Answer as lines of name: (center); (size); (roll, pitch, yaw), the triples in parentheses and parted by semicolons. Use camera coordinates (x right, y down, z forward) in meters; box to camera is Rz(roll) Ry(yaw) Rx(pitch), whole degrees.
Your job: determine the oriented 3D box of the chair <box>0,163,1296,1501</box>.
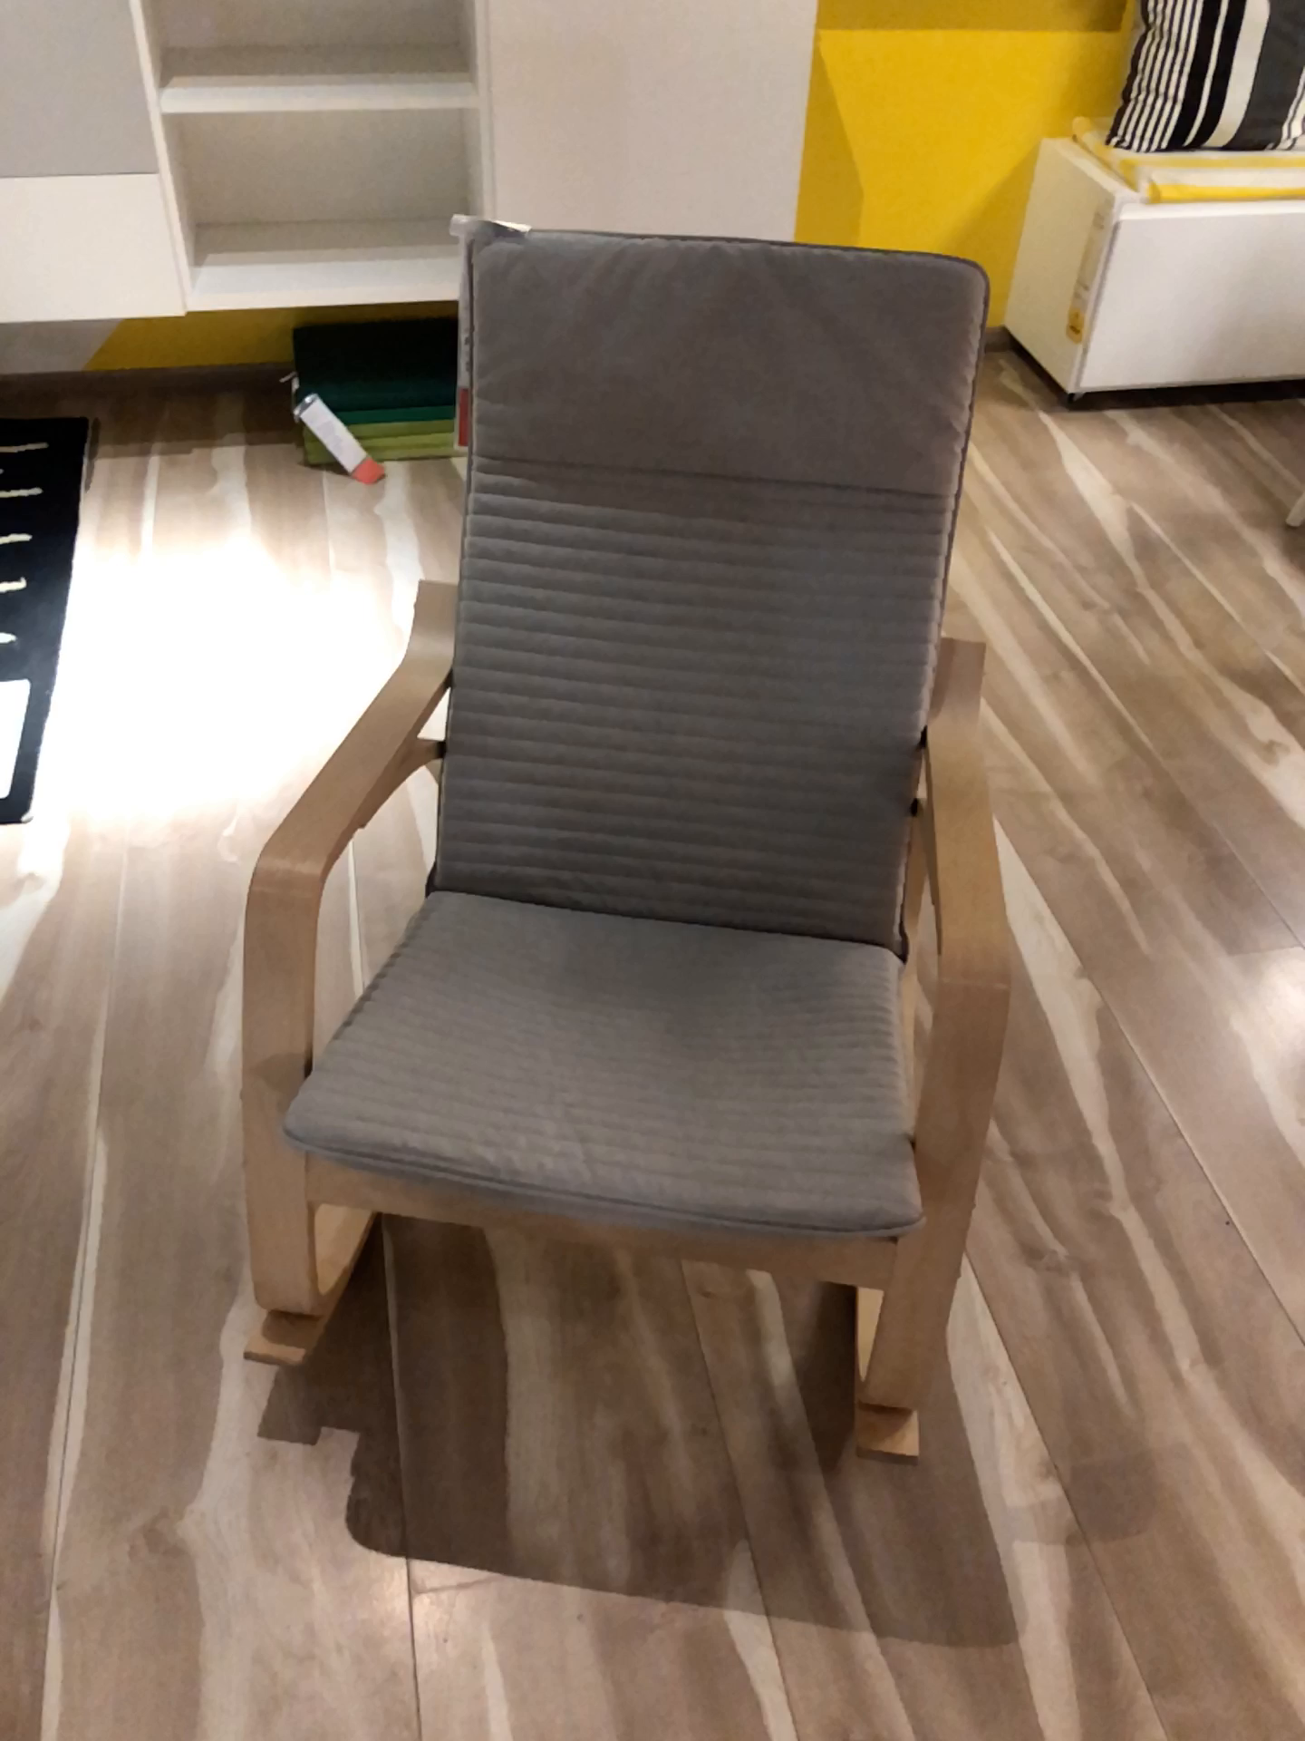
chair: (-0.010, -0.022, 1.343); (0.750, 0.944, 0.705); (7, 43, 4)
